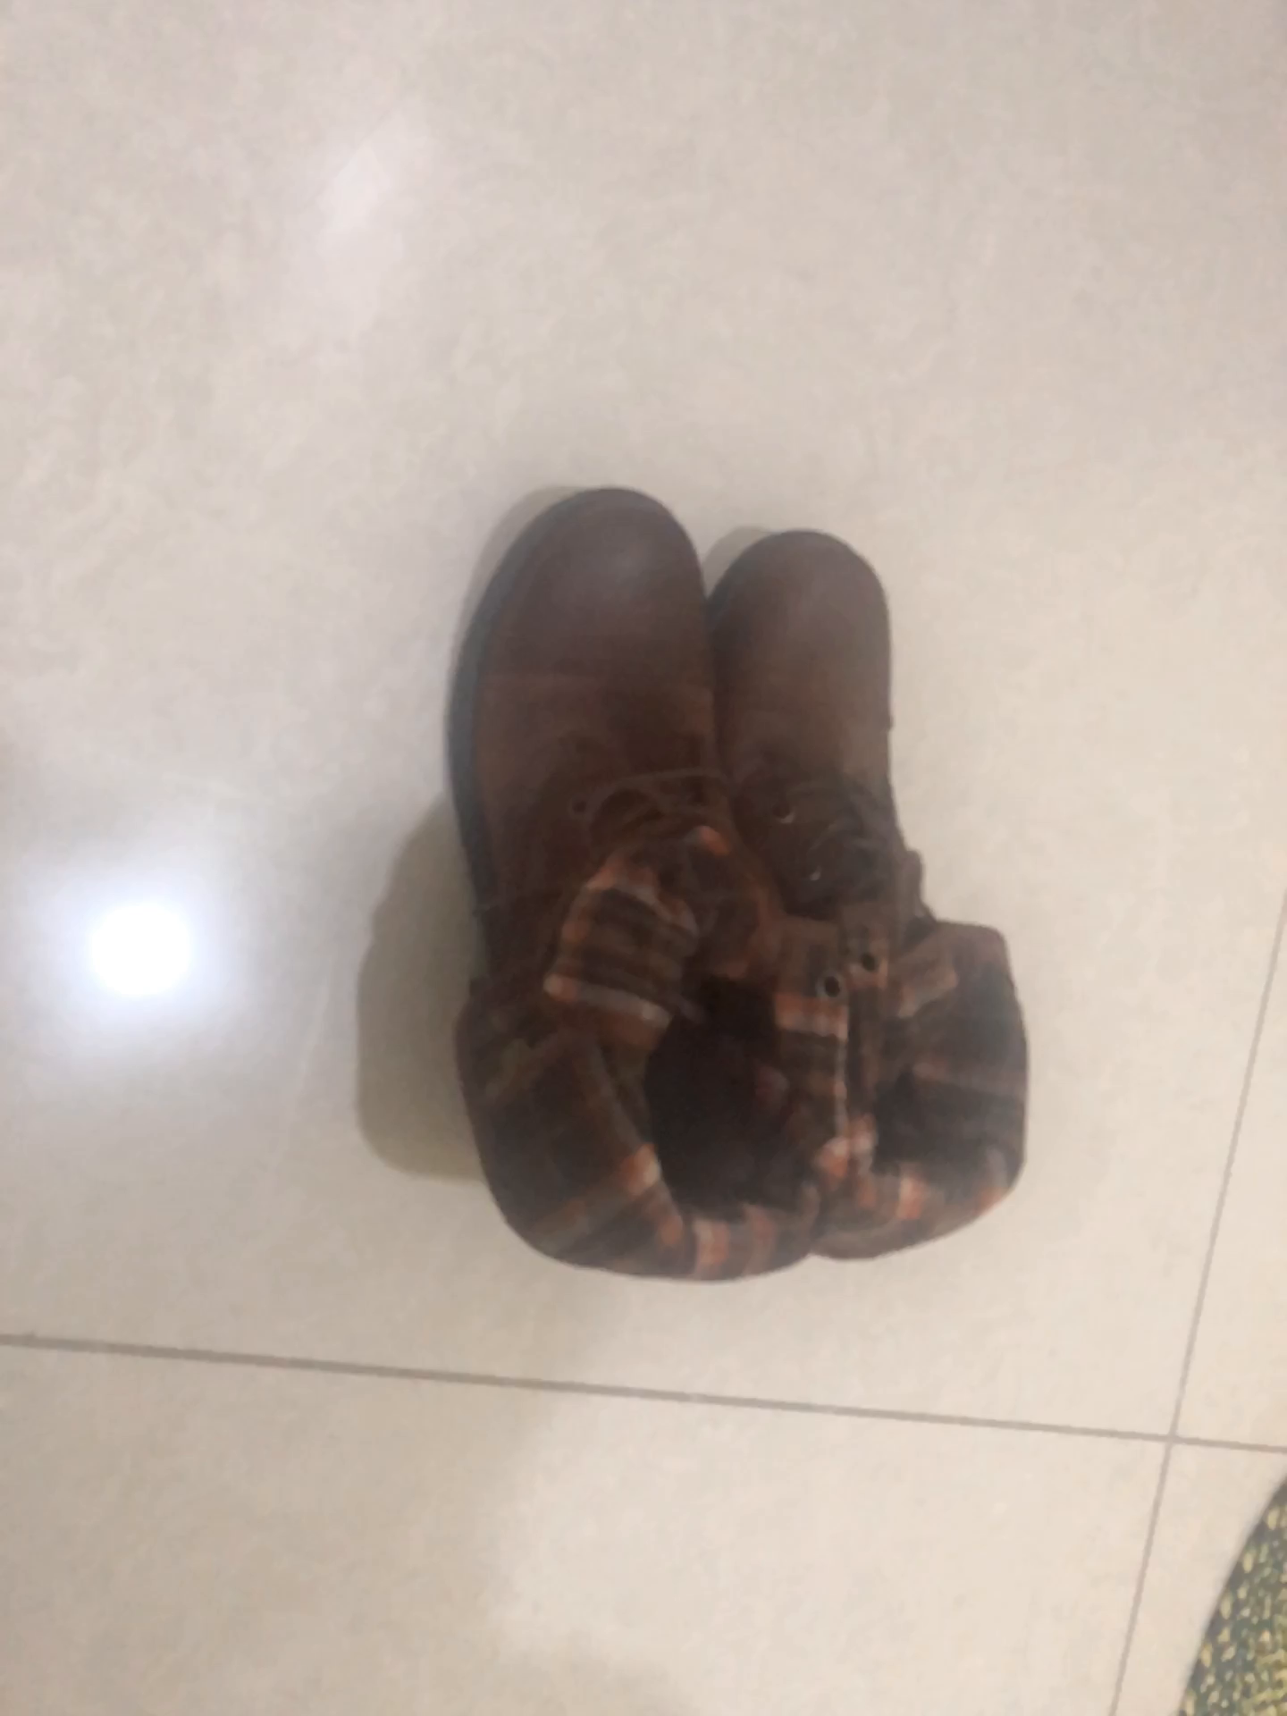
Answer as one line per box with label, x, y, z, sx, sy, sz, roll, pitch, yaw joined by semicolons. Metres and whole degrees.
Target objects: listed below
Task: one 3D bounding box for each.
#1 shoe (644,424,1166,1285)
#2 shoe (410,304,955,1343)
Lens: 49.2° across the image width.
shoe;0.091;0.000;0.526;0.100;0.139;0.270;5;90;-32
shoe;0.005;-0.010;0.472;0.110;0.149;0.280;0;93;-32
